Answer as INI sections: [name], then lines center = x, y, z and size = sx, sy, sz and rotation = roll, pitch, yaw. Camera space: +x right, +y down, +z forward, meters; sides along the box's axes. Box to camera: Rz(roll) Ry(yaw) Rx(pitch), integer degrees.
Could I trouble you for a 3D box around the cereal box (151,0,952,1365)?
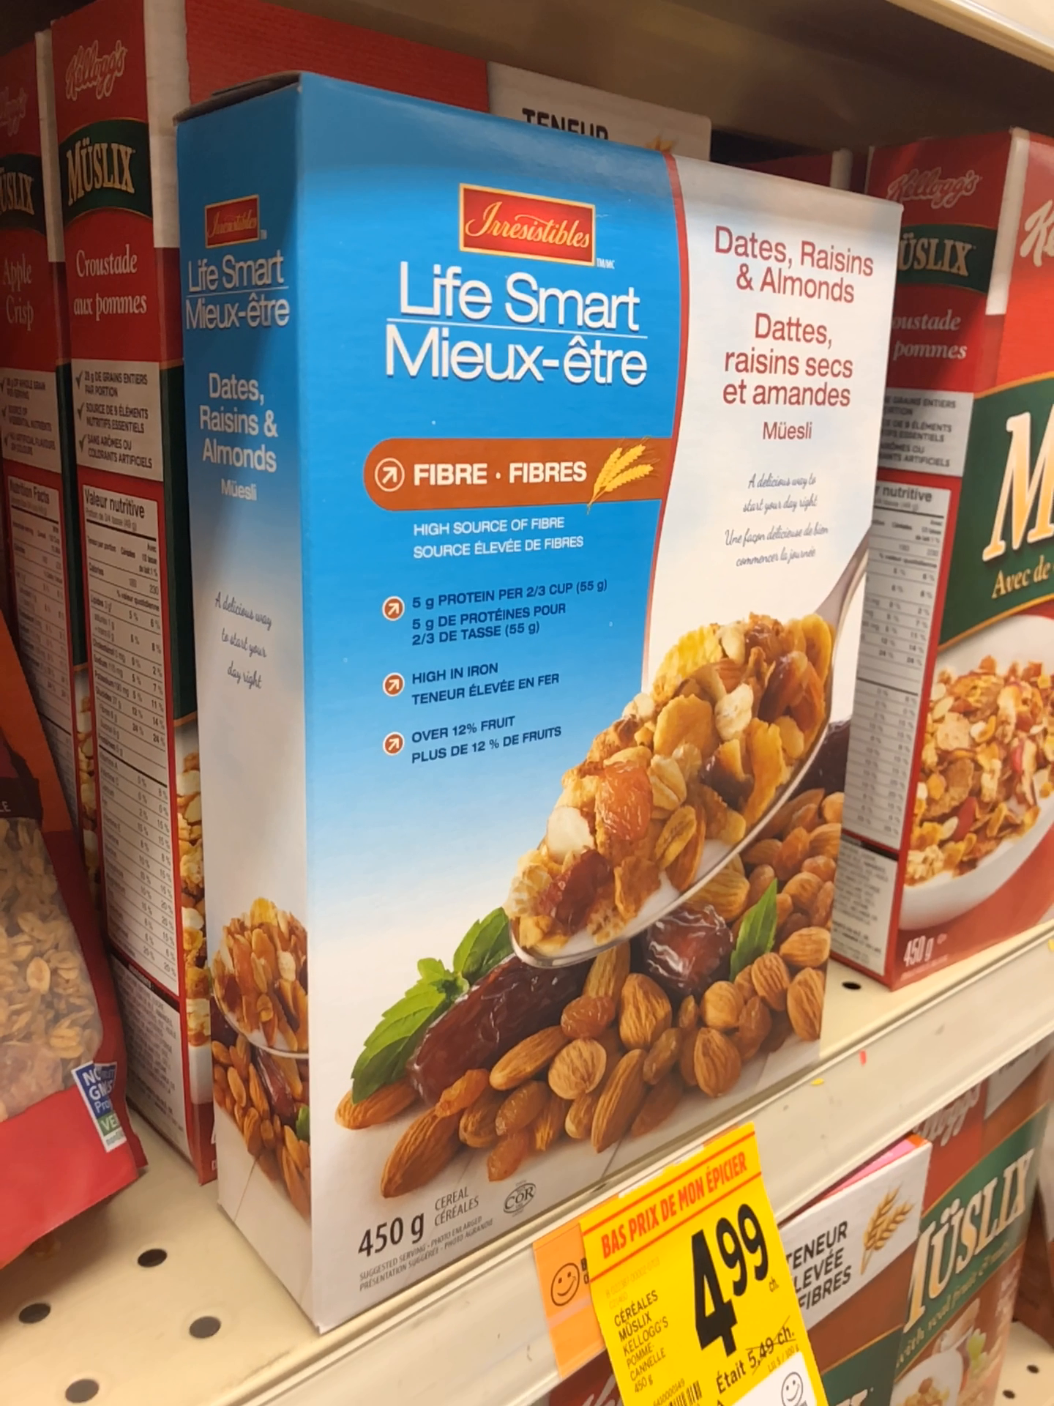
[cereal box]
center = 0.011, -0.005, 0.267
size = 0.170, 0.239, 0.050
rotation = -10, 20, -39
